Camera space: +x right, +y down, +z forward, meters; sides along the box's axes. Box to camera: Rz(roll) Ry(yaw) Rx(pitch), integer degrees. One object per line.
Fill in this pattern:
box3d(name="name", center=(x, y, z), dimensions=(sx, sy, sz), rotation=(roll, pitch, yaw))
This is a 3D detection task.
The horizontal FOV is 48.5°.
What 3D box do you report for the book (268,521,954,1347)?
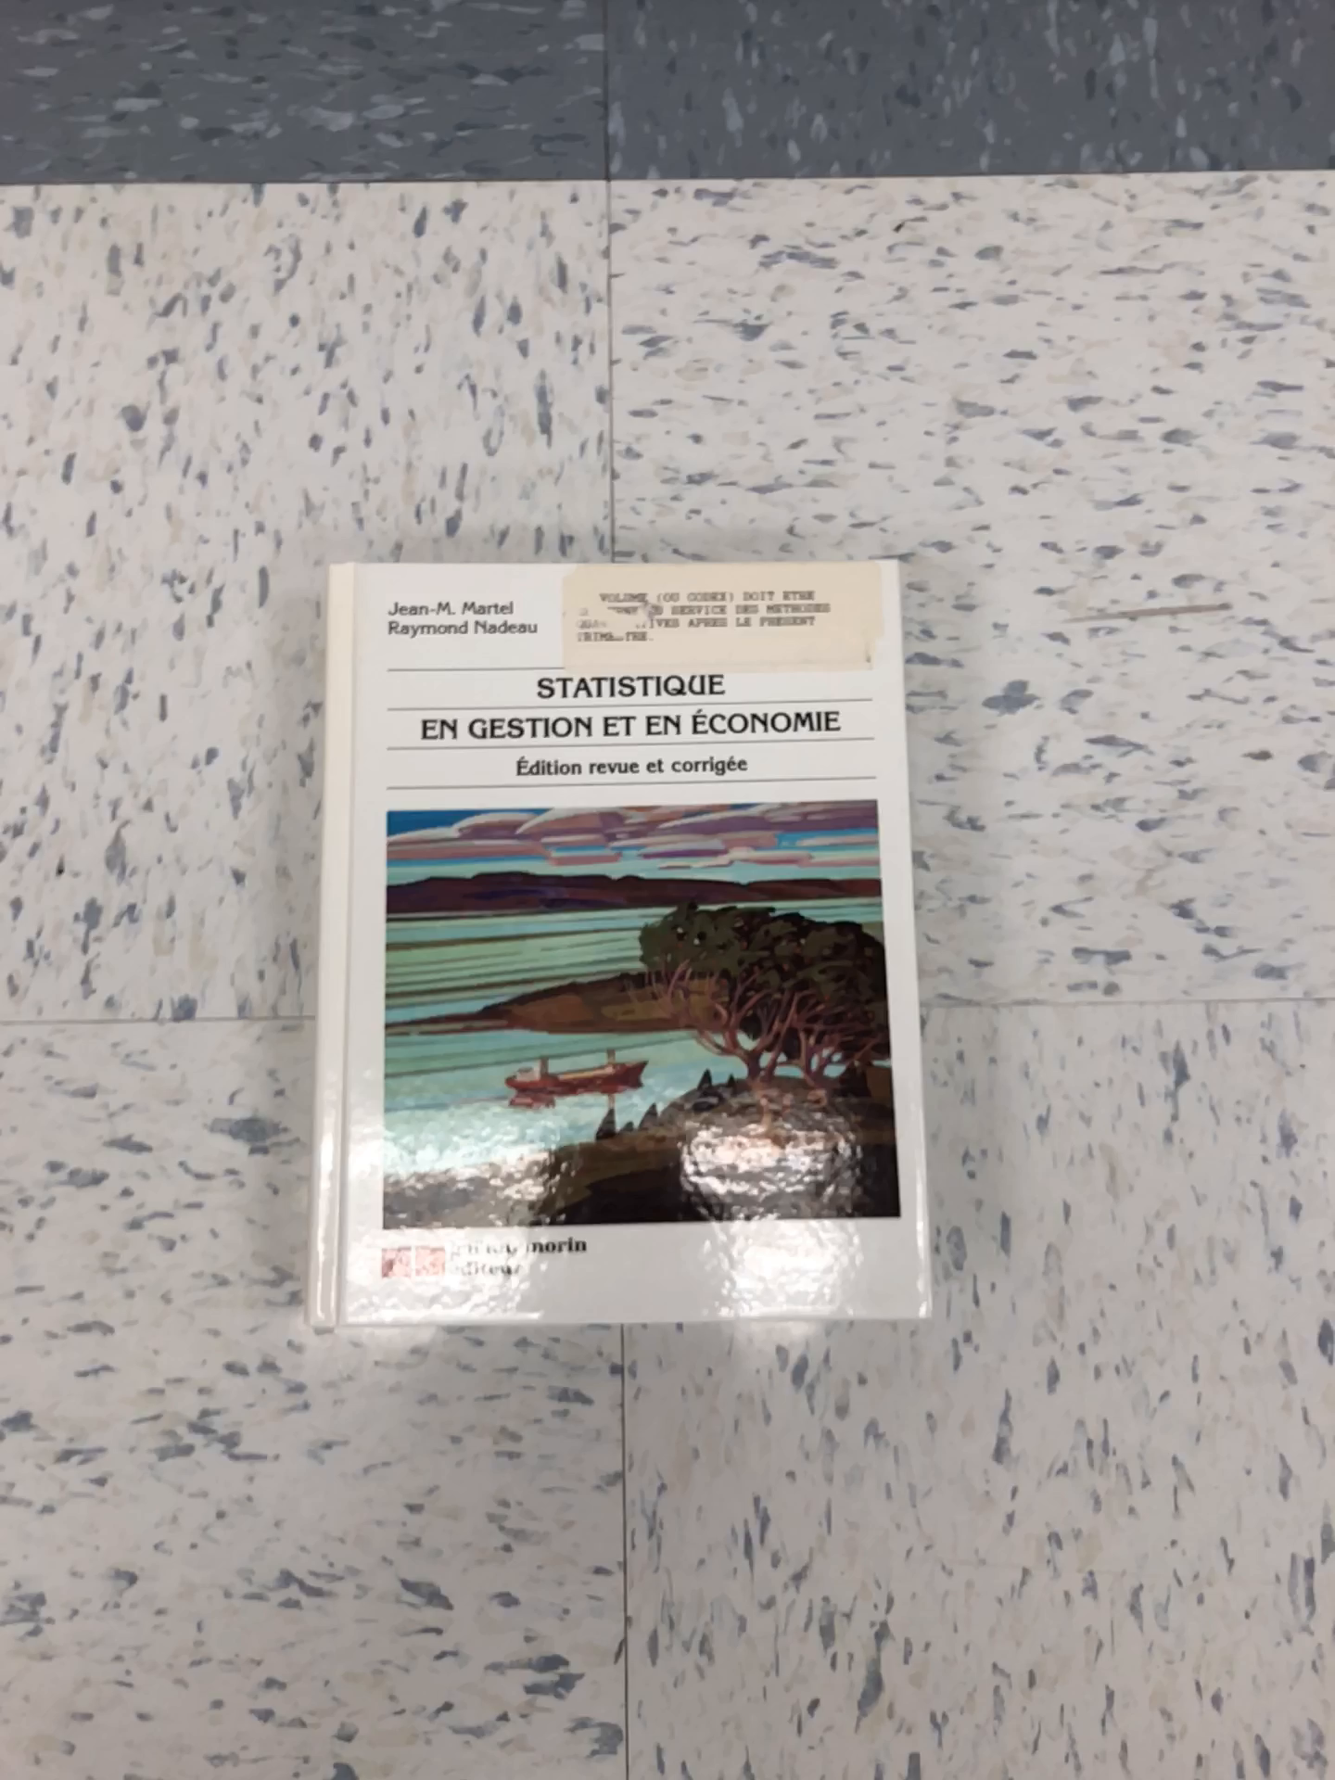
box3d(name="book", center=(-0.018, 0.012, 0.462), dimensions=(0.190, 0.060, 0.240), rotation=(-1, 79, 0))
